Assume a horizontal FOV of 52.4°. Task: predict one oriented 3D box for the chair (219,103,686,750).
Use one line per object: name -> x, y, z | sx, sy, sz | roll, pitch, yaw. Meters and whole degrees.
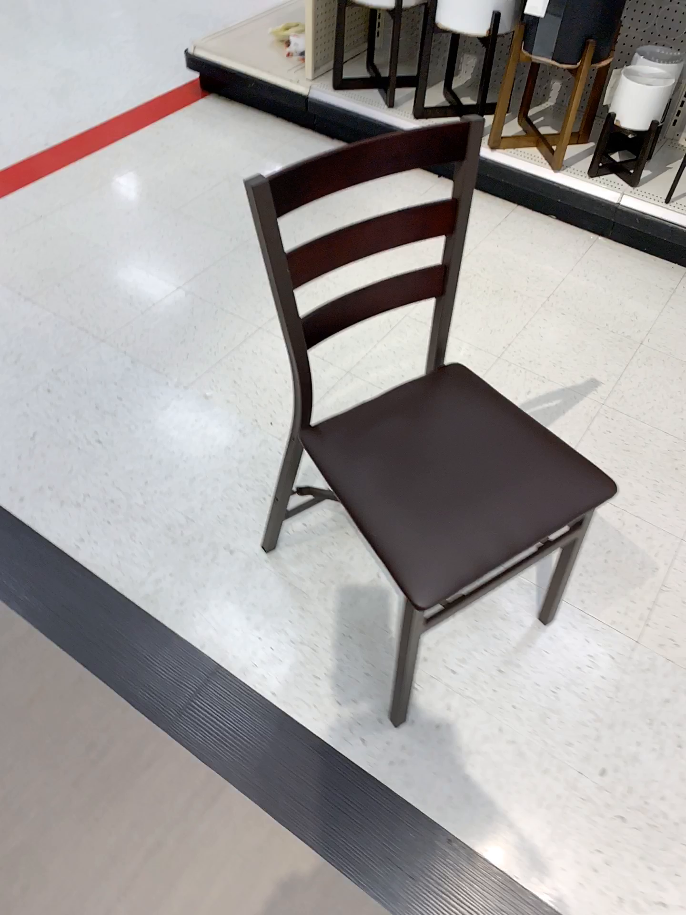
chair -> 0.154, -0.007, 1.139 | 0.441, 0.826, 0.522 | -25, 55, -22
